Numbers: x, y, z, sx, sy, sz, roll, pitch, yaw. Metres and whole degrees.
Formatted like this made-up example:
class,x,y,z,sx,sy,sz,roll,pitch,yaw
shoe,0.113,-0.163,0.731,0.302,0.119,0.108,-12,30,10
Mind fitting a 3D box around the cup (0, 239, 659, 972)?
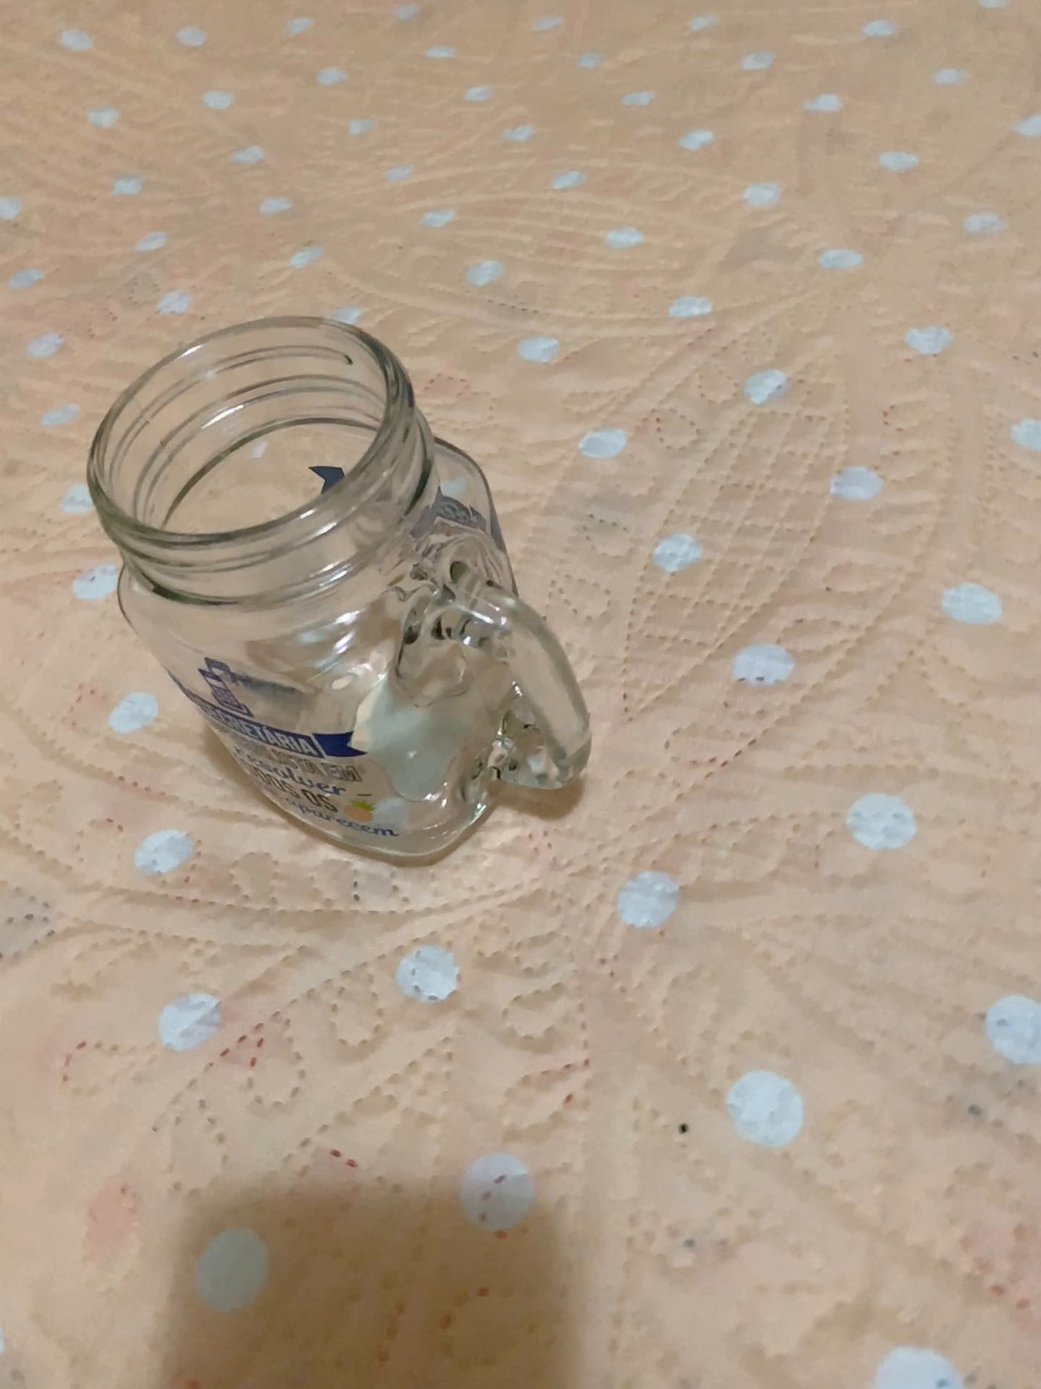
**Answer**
class,x,y,z,sx,sy,sz,roll,pitch,yaw
cup,-0.036,-0.018,0.244,0.100,0.119,0.080,24,61,26
